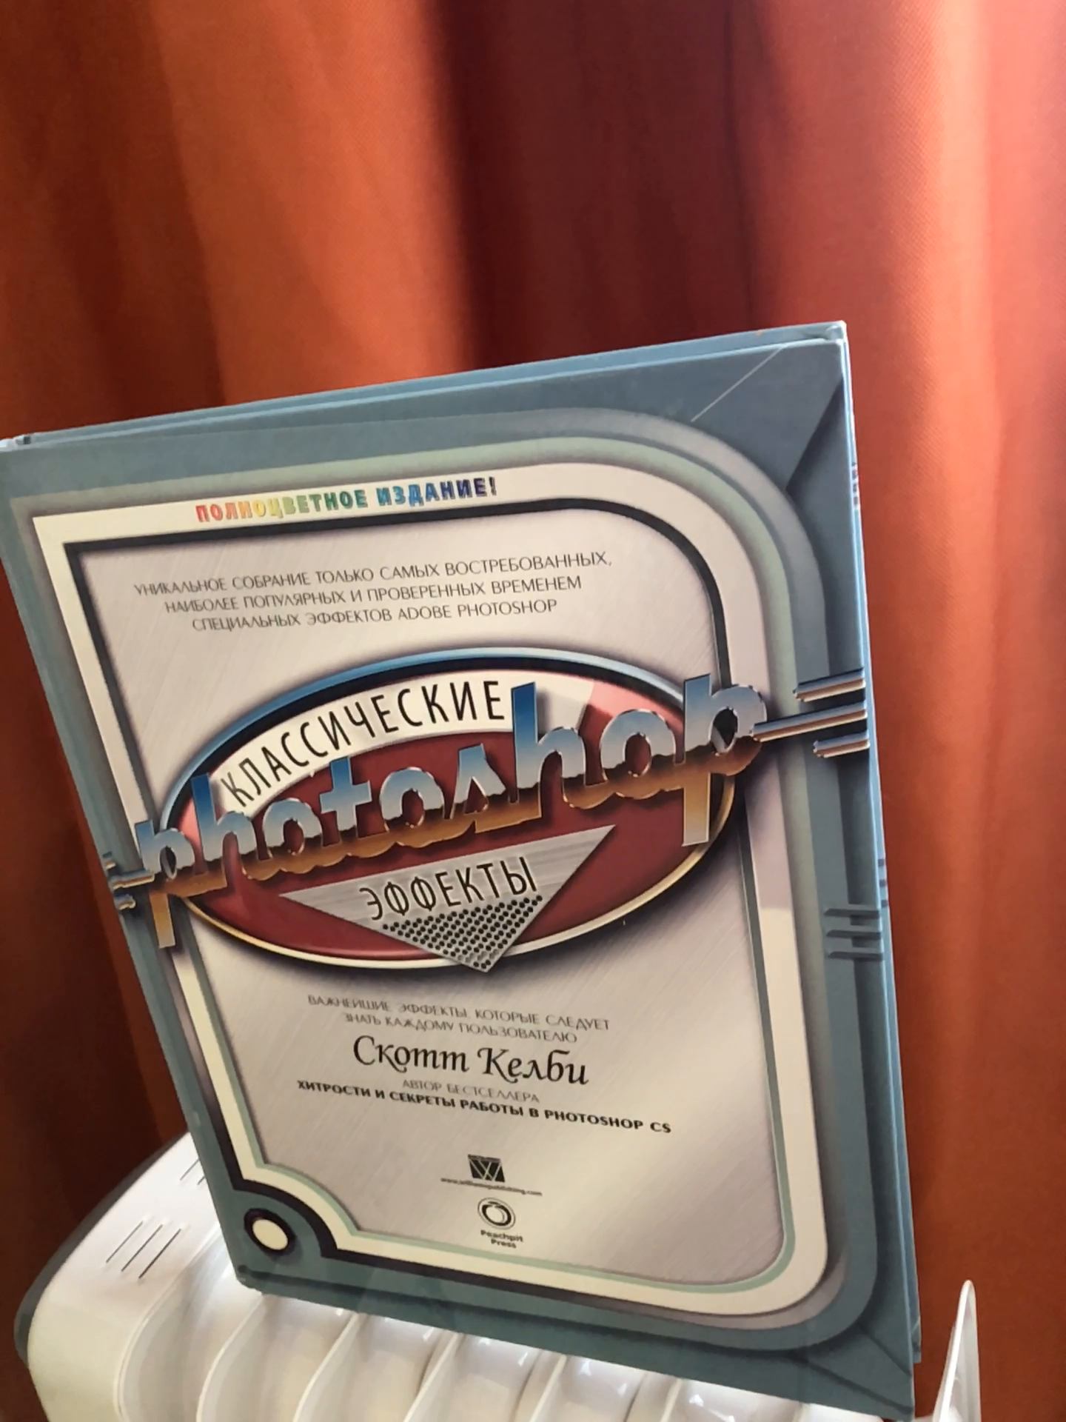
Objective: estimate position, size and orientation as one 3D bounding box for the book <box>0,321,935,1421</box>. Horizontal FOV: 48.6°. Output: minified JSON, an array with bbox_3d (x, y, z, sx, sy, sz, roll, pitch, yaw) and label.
[{"bbox_3d":[-0.015,0.054,0.323,0.225,0.276,0.040,-1,22,22],"label":"book"}]
